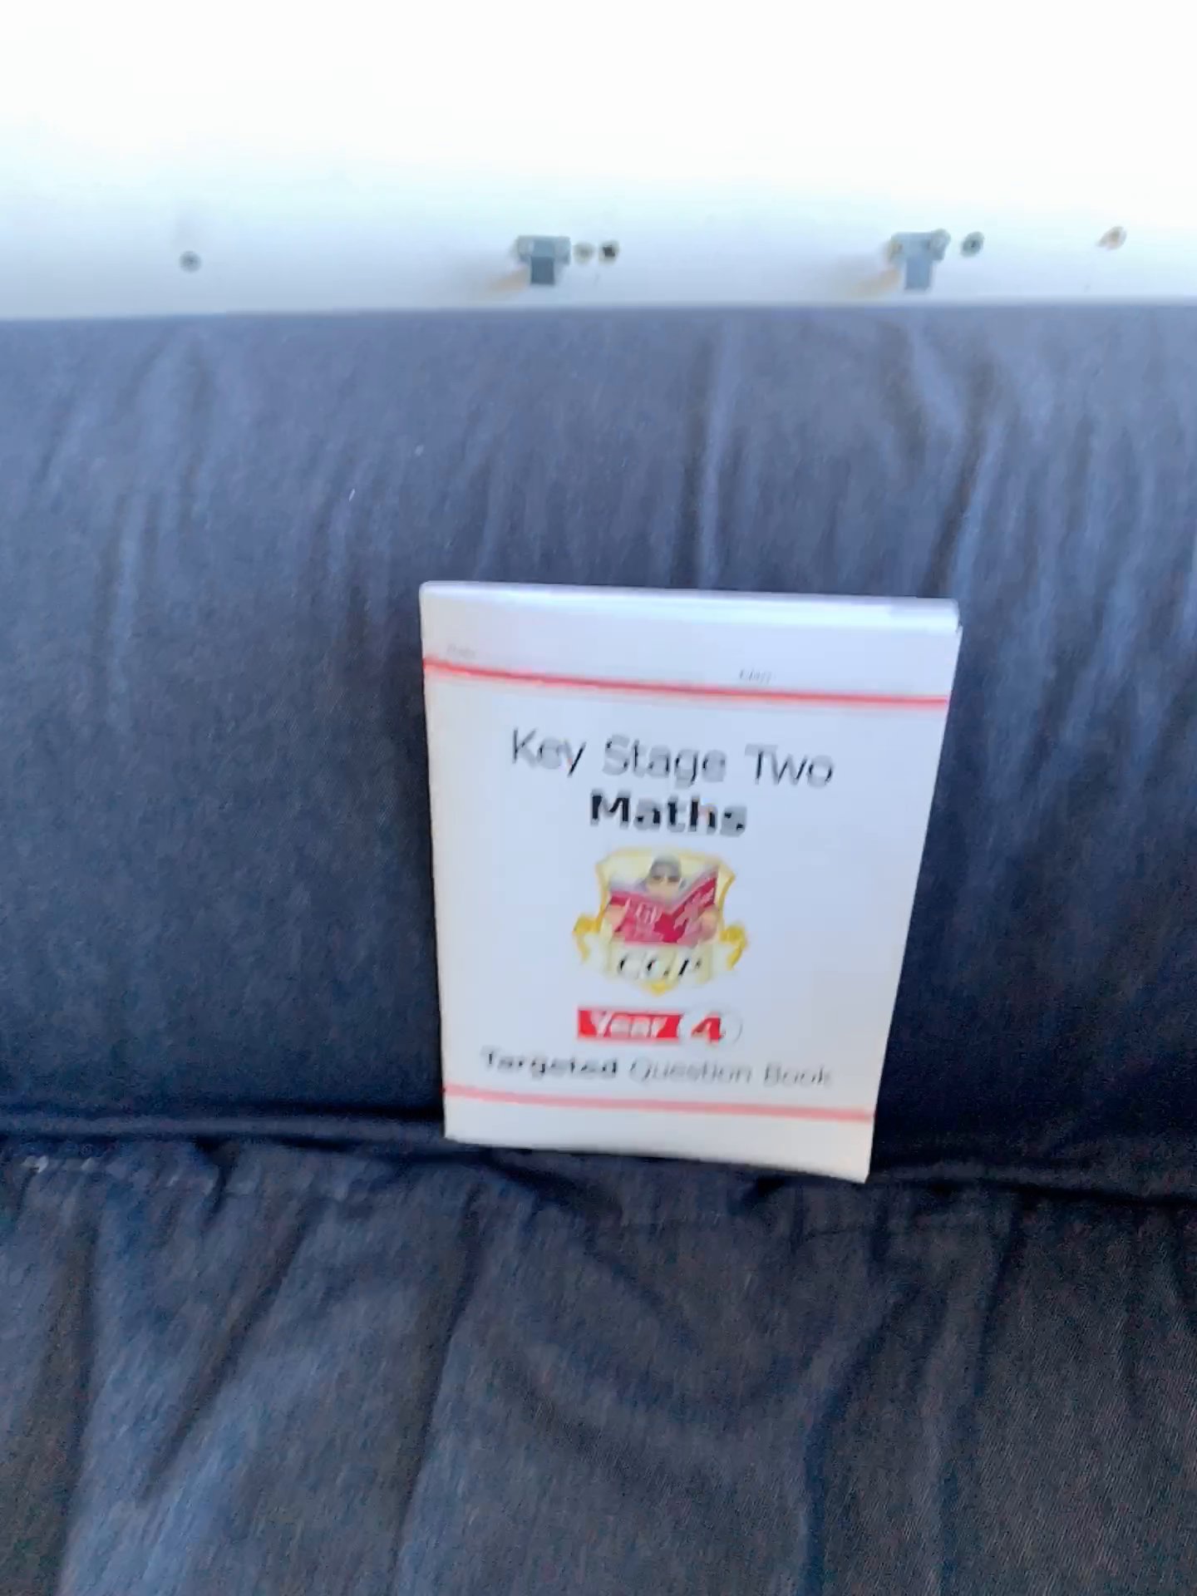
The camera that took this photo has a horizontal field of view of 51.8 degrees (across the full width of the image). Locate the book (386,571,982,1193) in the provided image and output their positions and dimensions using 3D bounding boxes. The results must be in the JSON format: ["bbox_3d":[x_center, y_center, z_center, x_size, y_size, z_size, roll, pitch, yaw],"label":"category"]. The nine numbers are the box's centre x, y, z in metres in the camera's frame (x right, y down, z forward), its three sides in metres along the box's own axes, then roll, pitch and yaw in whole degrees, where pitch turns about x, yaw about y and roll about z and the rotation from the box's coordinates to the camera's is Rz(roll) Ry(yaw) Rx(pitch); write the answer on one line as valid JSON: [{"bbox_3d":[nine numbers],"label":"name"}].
[{"bbox_3d":[0.030,0.043,0.523,0.220,0.266,0.030,3,25,7],"label":"book"}]
